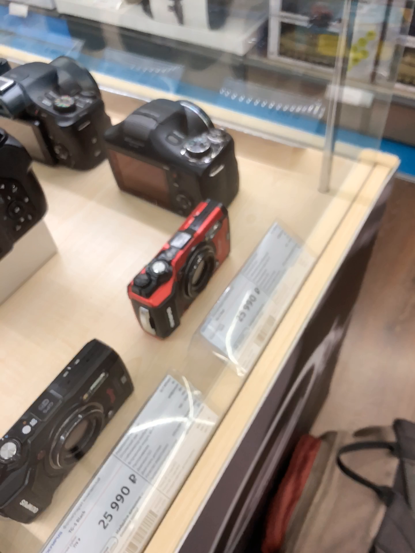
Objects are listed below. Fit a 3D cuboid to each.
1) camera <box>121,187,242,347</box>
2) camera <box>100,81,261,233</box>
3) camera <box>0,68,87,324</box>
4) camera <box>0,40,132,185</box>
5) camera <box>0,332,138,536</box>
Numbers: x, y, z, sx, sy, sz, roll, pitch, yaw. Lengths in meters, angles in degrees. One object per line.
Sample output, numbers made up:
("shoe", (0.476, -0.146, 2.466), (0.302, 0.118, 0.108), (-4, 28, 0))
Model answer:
("camera", (-0.015, -0.009, 0.380), (0.030, 0.061, 0.119), (24, 57, 22))
("camera", (-0.022, -0.120, 0.459), (0.117, 0.078, 0.094), (25, 58, 23))
("camera", (-0.199, -0.068, 0.352), (0.127, 0.086, 0.147), (25, 58, 23))
("camera", (-0.188, -0.192, 0.537), (0.158, 0.086, 0.103), (24, 57, 22))
("camera", (-0.099, 0.103, 0.311), (0.030, 0.061, 0.117), (24, 57, 22))
